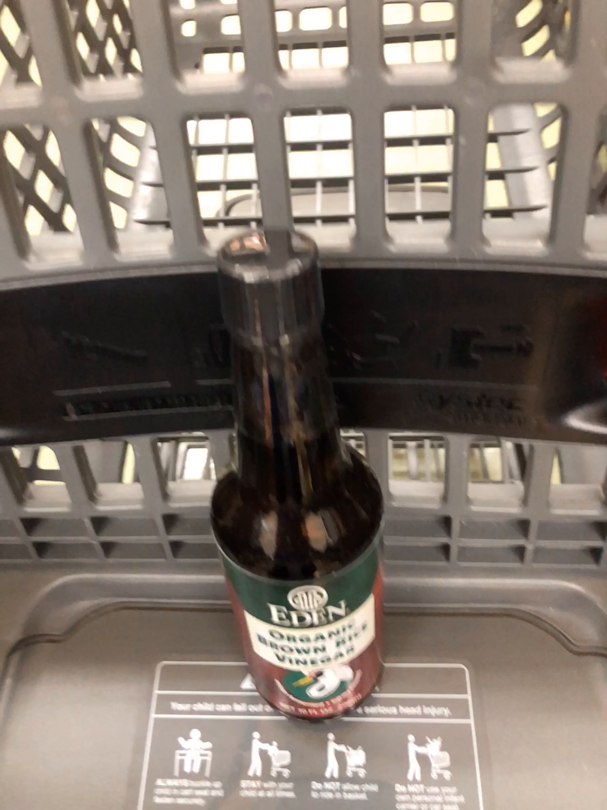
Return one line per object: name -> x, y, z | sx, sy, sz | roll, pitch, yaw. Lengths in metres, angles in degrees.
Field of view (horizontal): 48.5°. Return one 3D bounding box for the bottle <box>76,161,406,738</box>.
bottle -> -0.005, 0.028, 0.229 | 0.070, 0.190, 0.070 | -4, 36, 3
